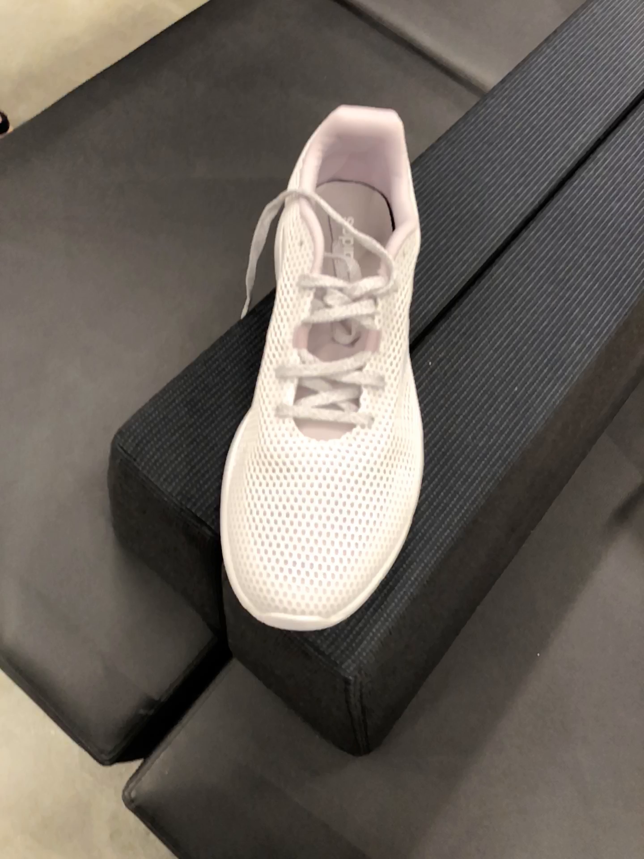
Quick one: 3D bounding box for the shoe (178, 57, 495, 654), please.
[{"bbox_3d":[0.010,-0.036,0.387,0.120,0.140,0.280,7,66,-3],"label":"shoe"}]
